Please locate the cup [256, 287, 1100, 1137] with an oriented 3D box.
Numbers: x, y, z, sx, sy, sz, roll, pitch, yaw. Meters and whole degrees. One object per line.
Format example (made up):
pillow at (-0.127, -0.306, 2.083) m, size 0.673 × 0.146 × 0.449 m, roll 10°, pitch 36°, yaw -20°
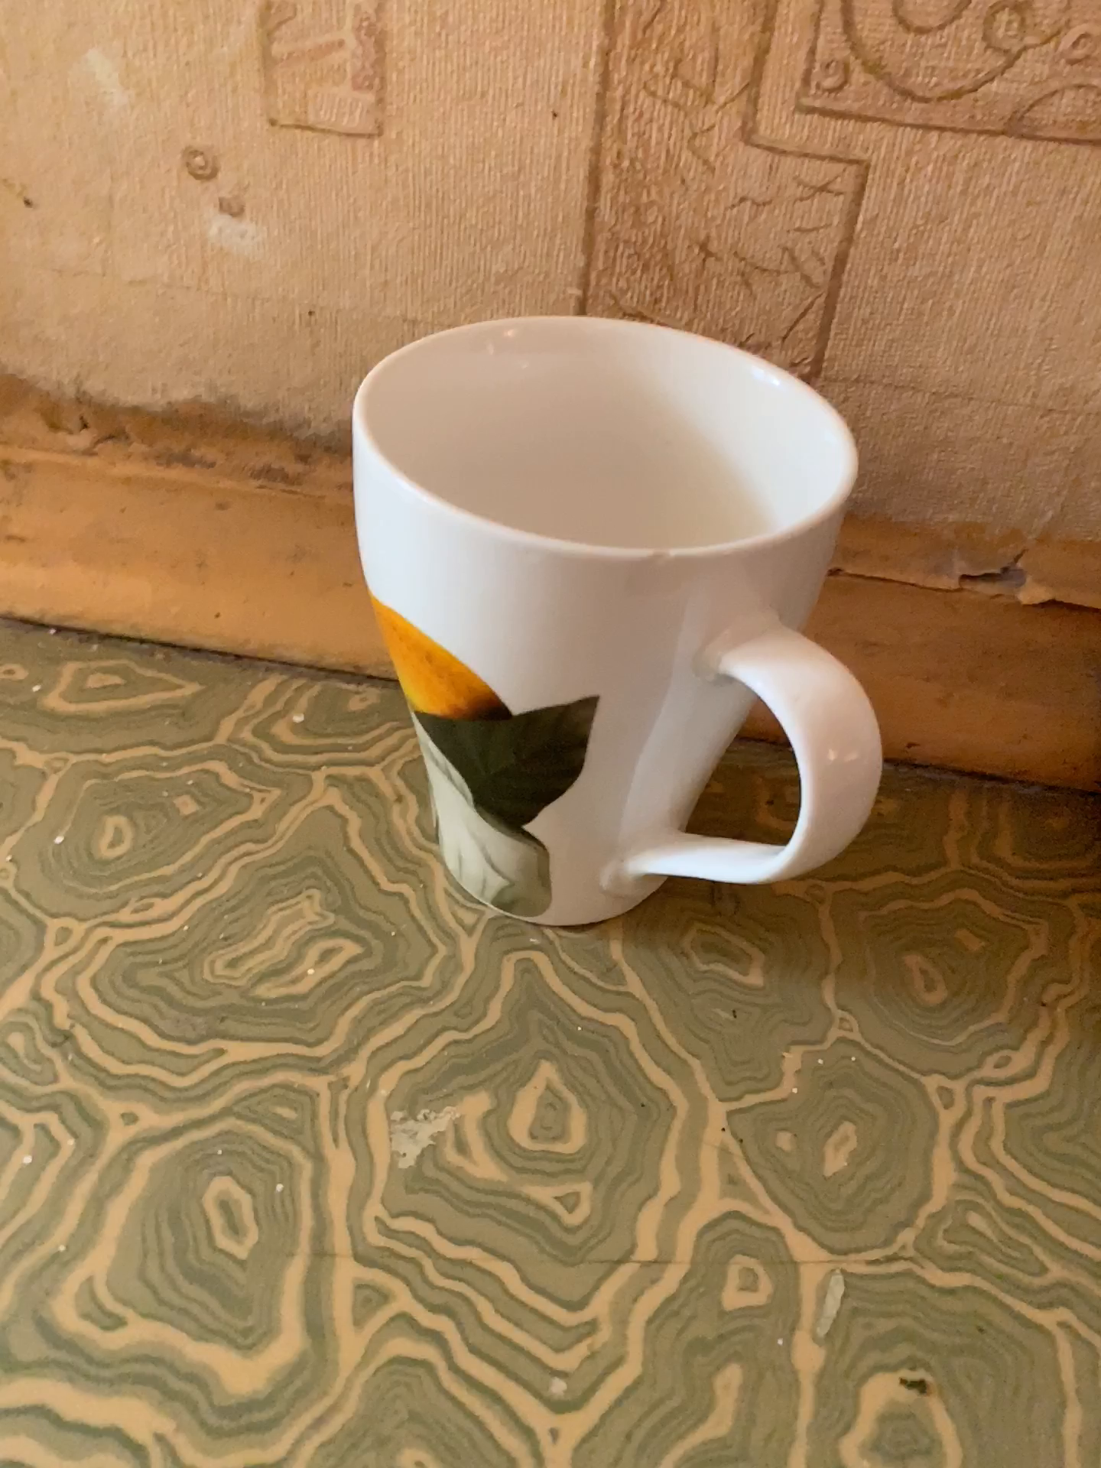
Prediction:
cup at (0.015, -0.014, 0.233) m, size 0.094 × 0.099 × 0.119 m, roll -24°, pitch 49°, yaw -31°
